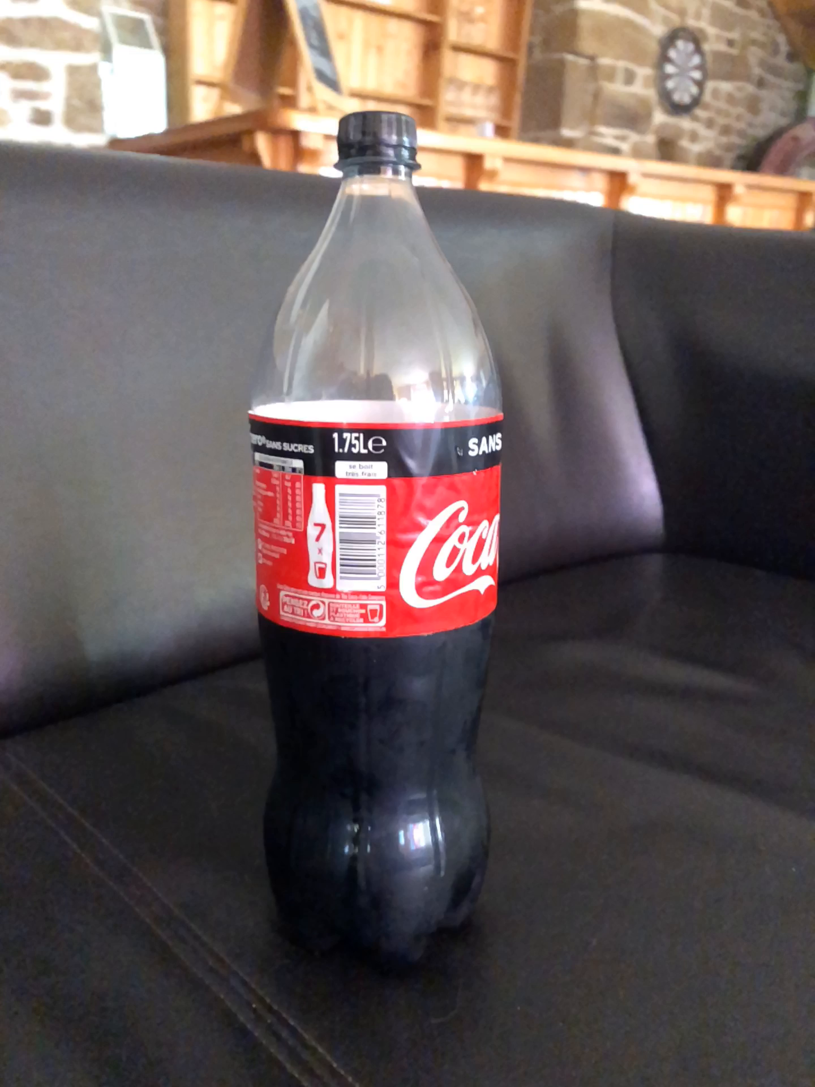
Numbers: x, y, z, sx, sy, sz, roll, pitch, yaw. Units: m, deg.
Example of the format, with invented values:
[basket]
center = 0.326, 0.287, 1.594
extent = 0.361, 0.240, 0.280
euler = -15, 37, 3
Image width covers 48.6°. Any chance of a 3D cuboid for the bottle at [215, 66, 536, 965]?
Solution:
[bottle]
center = -0.012, -0.005, 0.367
extent = 0.100, 0.319, 0.100
euler = 2, 14, 0
